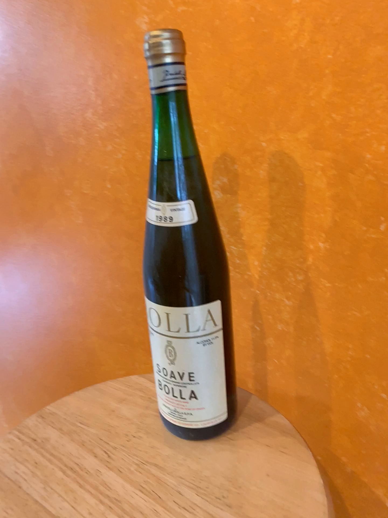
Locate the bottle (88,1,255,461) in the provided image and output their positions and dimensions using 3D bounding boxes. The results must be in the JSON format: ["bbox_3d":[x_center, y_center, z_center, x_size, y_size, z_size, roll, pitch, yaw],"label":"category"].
[{"bbox_3d":[-0.006,-0.004,0.333,0.080,0.339,0.070,6,22,30],"label":"bottle"}]
